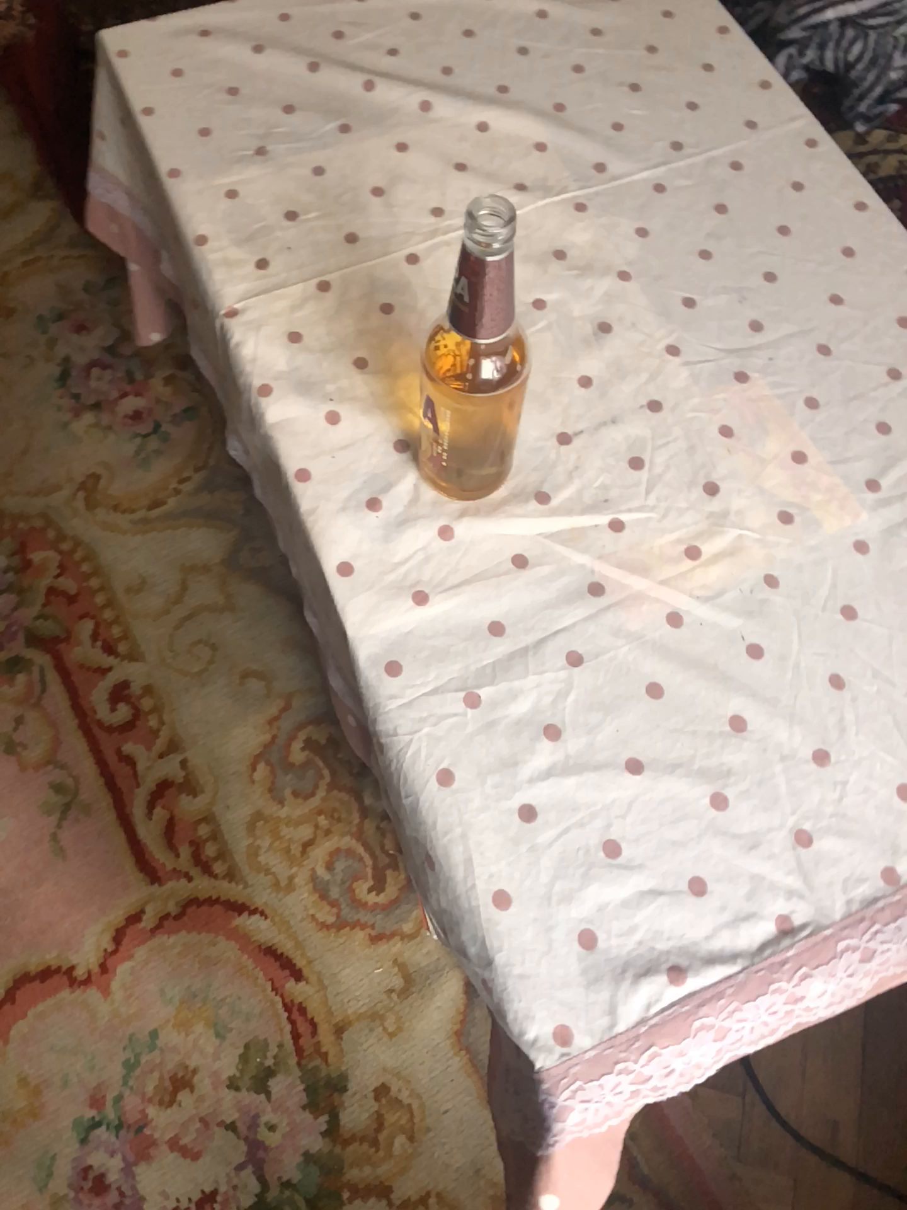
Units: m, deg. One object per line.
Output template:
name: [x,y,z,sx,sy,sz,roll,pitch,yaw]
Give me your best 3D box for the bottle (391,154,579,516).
bottle: [0.011,-0.148,0.598,0.080,0.209,0.080,2,65,-3]
